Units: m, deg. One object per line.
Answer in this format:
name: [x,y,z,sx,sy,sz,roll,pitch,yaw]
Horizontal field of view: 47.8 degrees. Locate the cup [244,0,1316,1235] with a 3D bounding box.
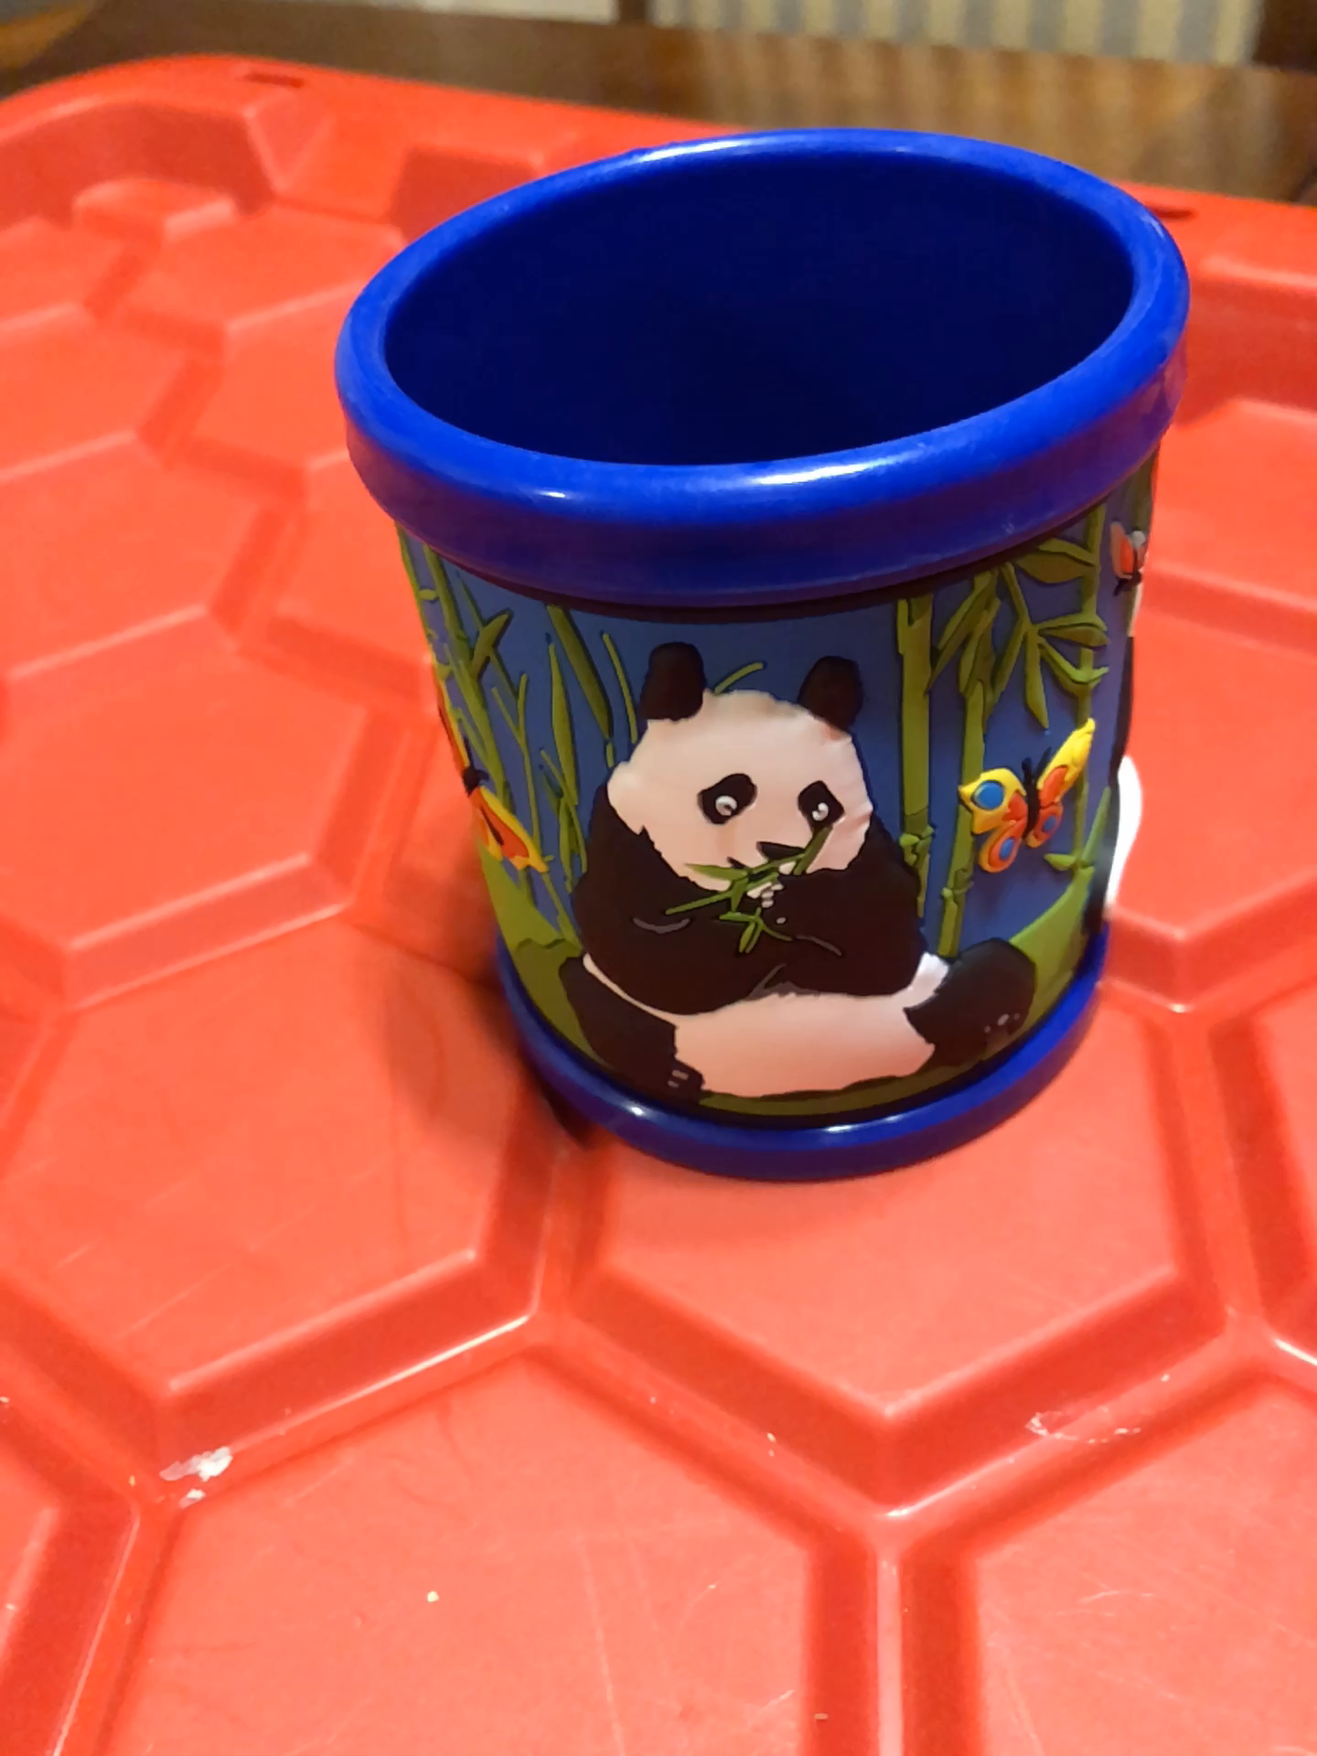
cup: [0.017,-0.038,0.187,0.090,0.099,0.121,-5,43,3]
